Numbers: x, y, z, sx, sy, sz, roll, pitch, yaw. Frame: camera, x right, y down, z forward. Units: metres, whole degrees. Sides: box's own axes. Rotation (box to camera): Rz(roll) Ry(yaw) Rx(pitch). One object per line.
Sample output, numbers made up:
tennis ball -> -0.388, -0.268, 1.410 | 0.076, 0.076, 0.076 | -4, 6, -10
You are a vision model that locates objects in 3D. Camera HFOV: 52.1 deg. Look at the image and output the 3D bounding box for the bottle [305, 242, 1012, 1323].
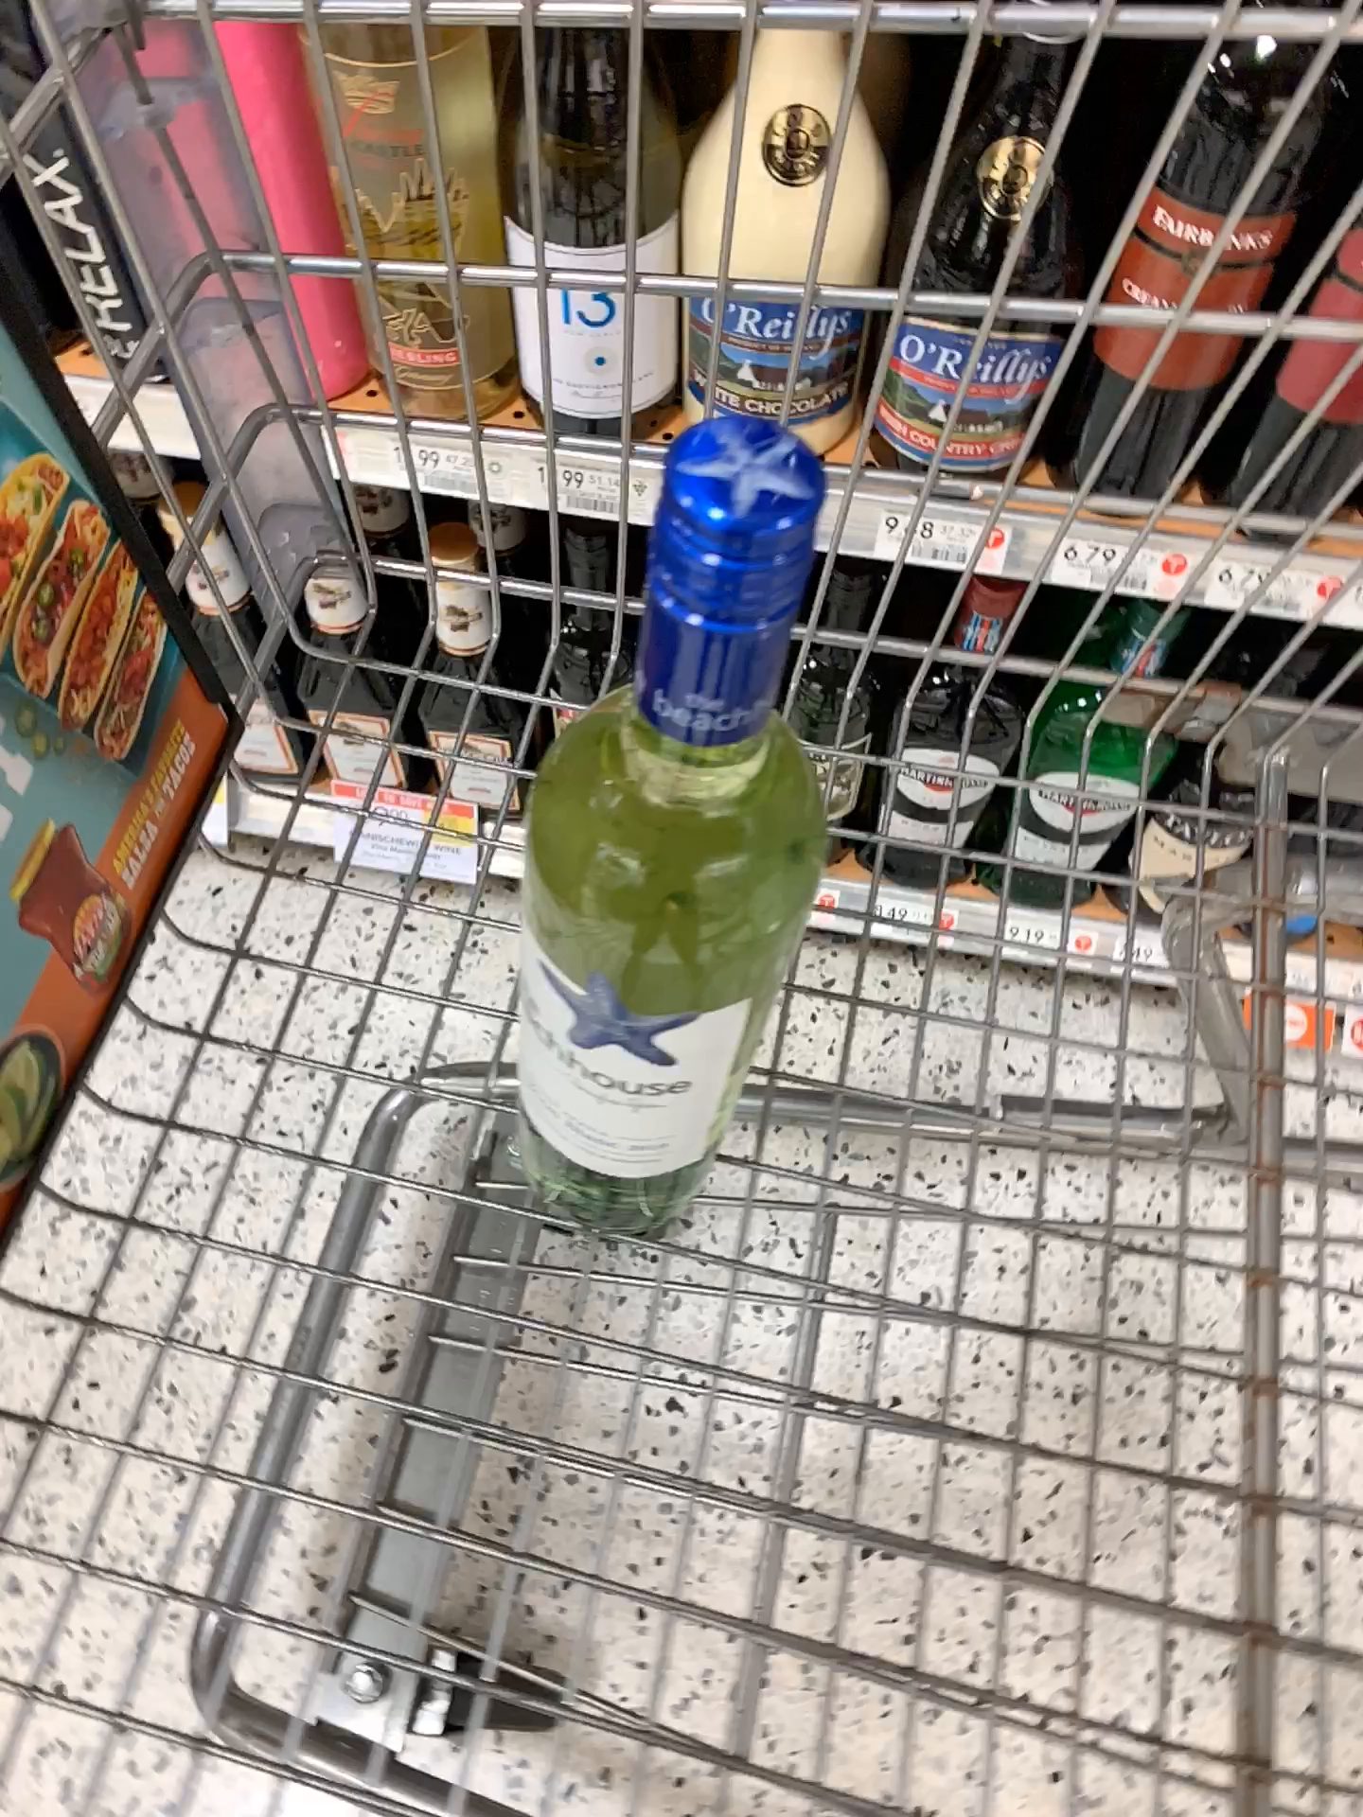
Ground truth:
bottle -> -0.011, 0.011, 0.380 | 0.090, 0.338, 0.091 | 2, 60, -3
